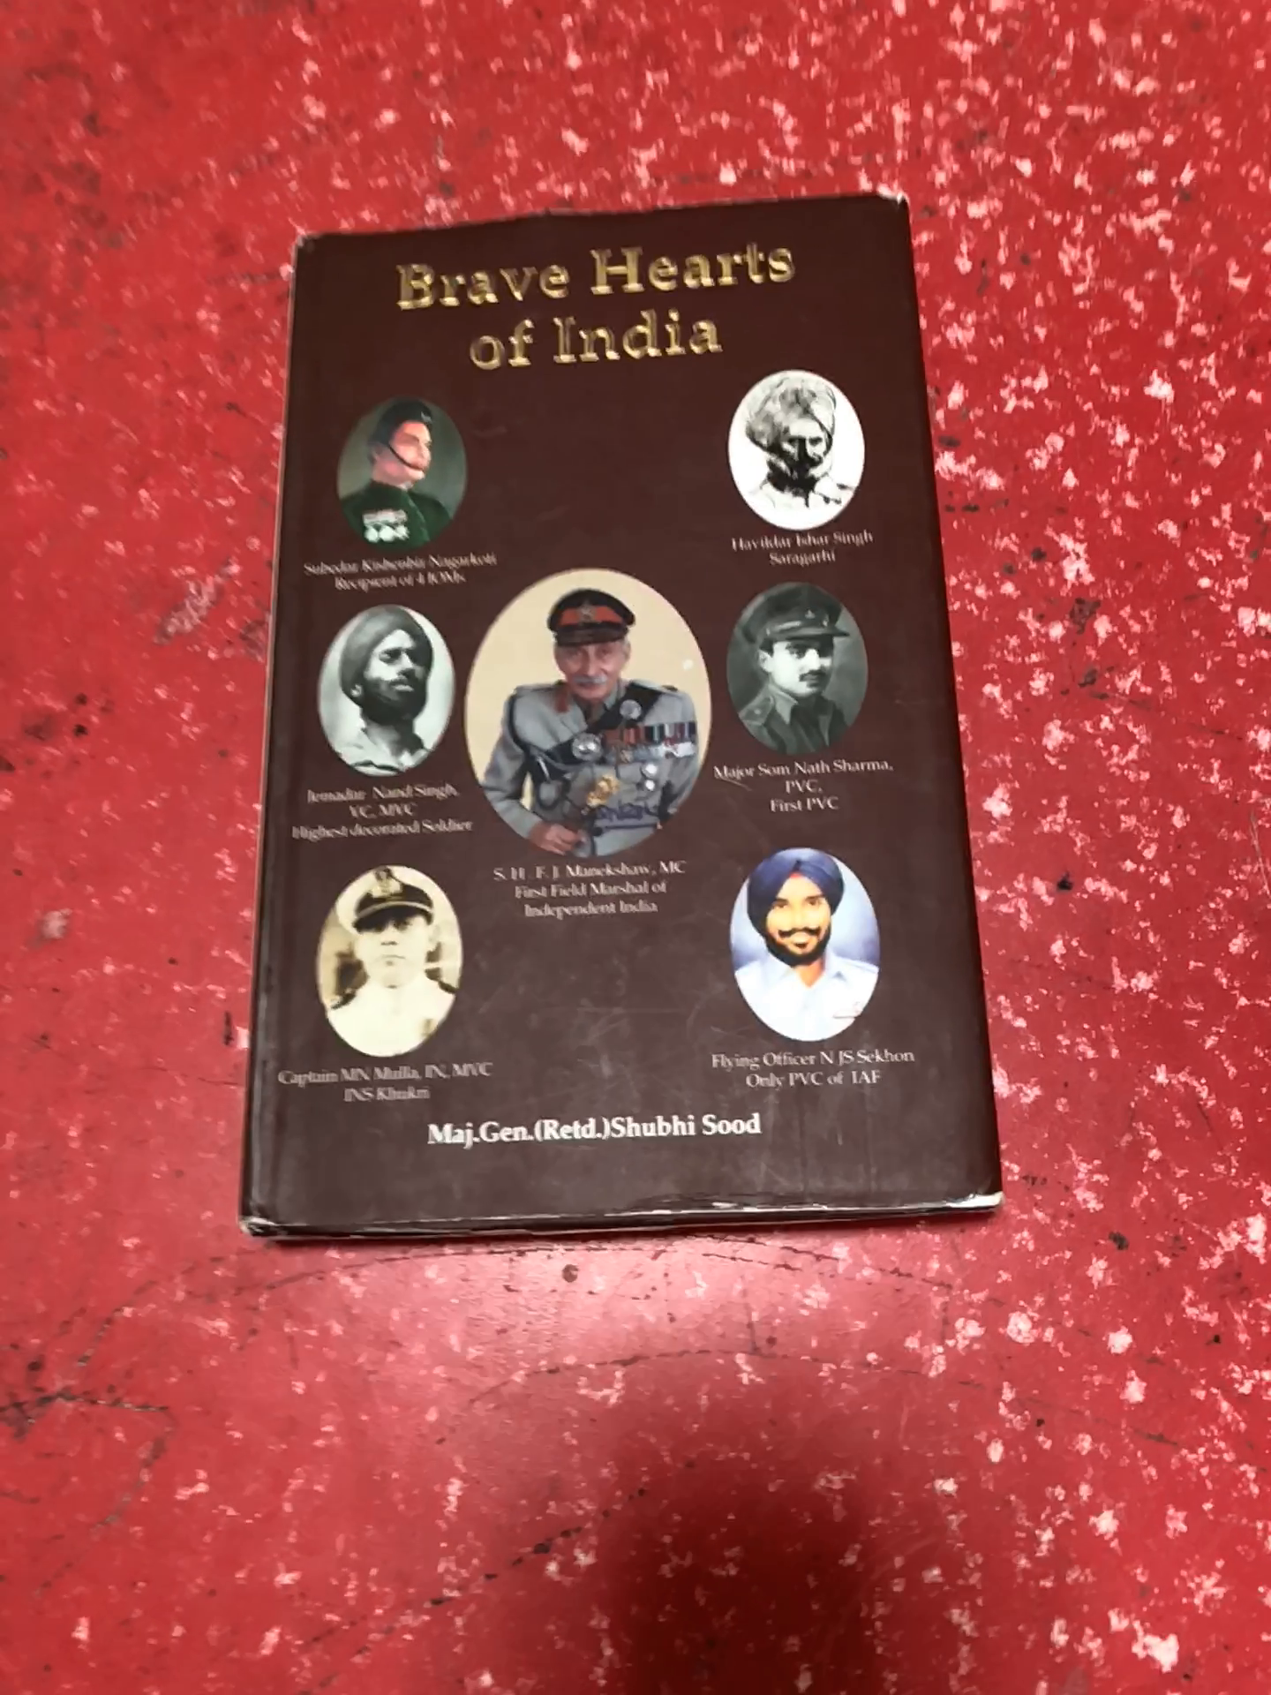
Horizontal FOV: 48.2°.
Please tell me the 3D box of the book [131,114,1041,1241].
[{"bbox_3d":[-0.012,-0.039,0.281,0.150,0.030,0.220,-3,72,4],"label":"book"}]
